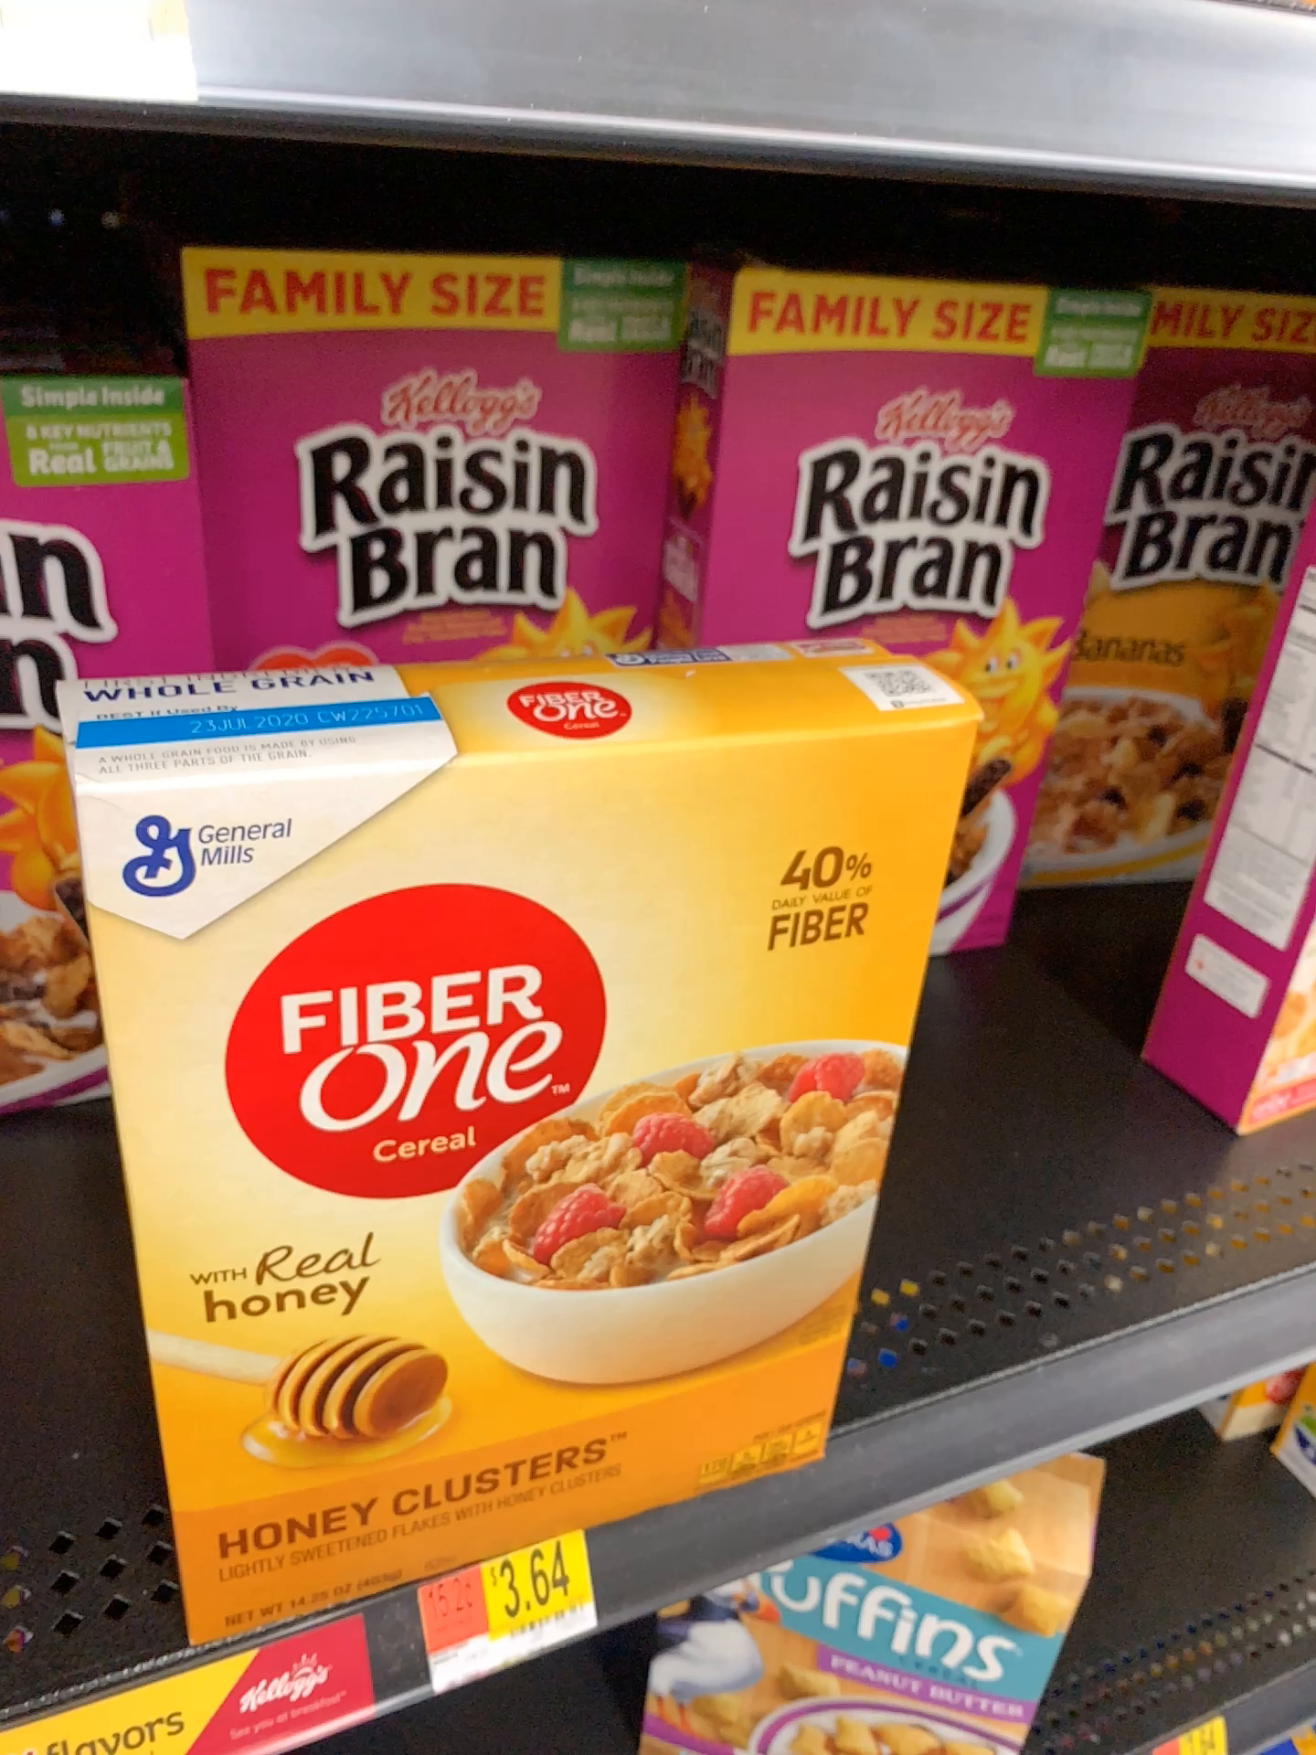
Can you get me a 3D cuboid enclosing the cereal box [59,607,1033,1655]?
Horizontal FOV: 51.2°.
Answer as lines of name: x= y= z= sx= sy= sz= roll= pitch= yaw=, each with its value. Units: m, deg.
cereal box: x=-0.028 y=0.069 z=0.355 sx=0.200 sy=0.259 sz=0.050 roll=-8 pitch=32 yaw=-21
